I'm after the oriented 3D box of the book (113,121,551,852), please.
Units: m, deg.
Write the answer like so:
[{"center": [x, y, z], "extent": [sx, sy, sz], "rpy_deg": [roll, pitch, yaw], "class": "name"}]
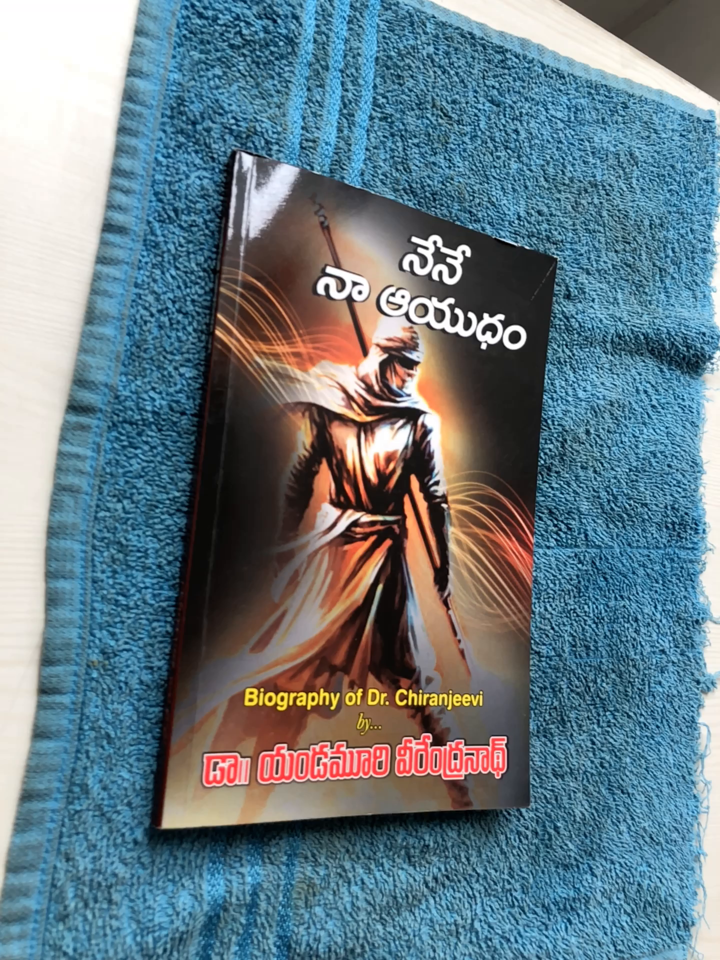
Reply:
[{"center": [0.001, 0.006, 0.284], "extent": [0.140, 0.030, 0.220], "rpy_deg": [10, 80, -30], "class": "book"}]
